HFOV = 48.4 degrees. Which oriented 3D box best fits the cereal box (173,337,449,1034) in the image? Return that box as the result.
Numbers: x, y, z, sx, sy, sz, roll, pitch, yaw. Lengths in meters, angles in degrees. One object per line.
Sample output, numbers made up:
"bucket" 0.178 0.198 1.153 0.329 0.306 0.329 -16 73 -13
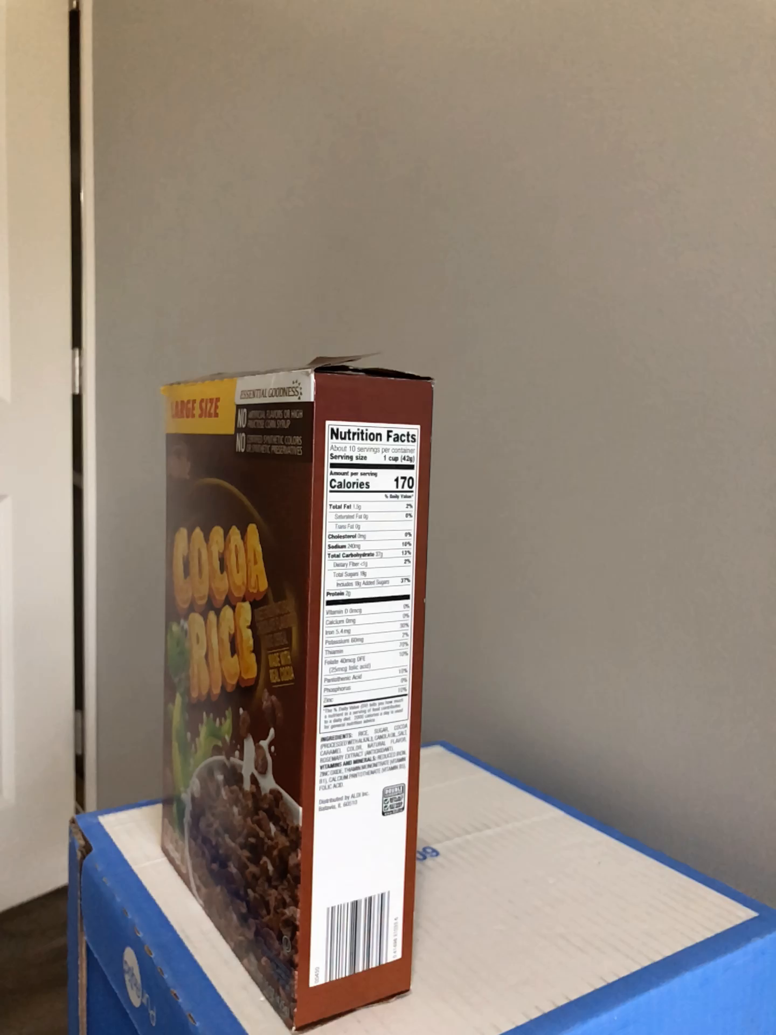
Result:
"cereal box" -0.053 0.064 0.454 0.060 0.290 0.200 -1 5 -30
